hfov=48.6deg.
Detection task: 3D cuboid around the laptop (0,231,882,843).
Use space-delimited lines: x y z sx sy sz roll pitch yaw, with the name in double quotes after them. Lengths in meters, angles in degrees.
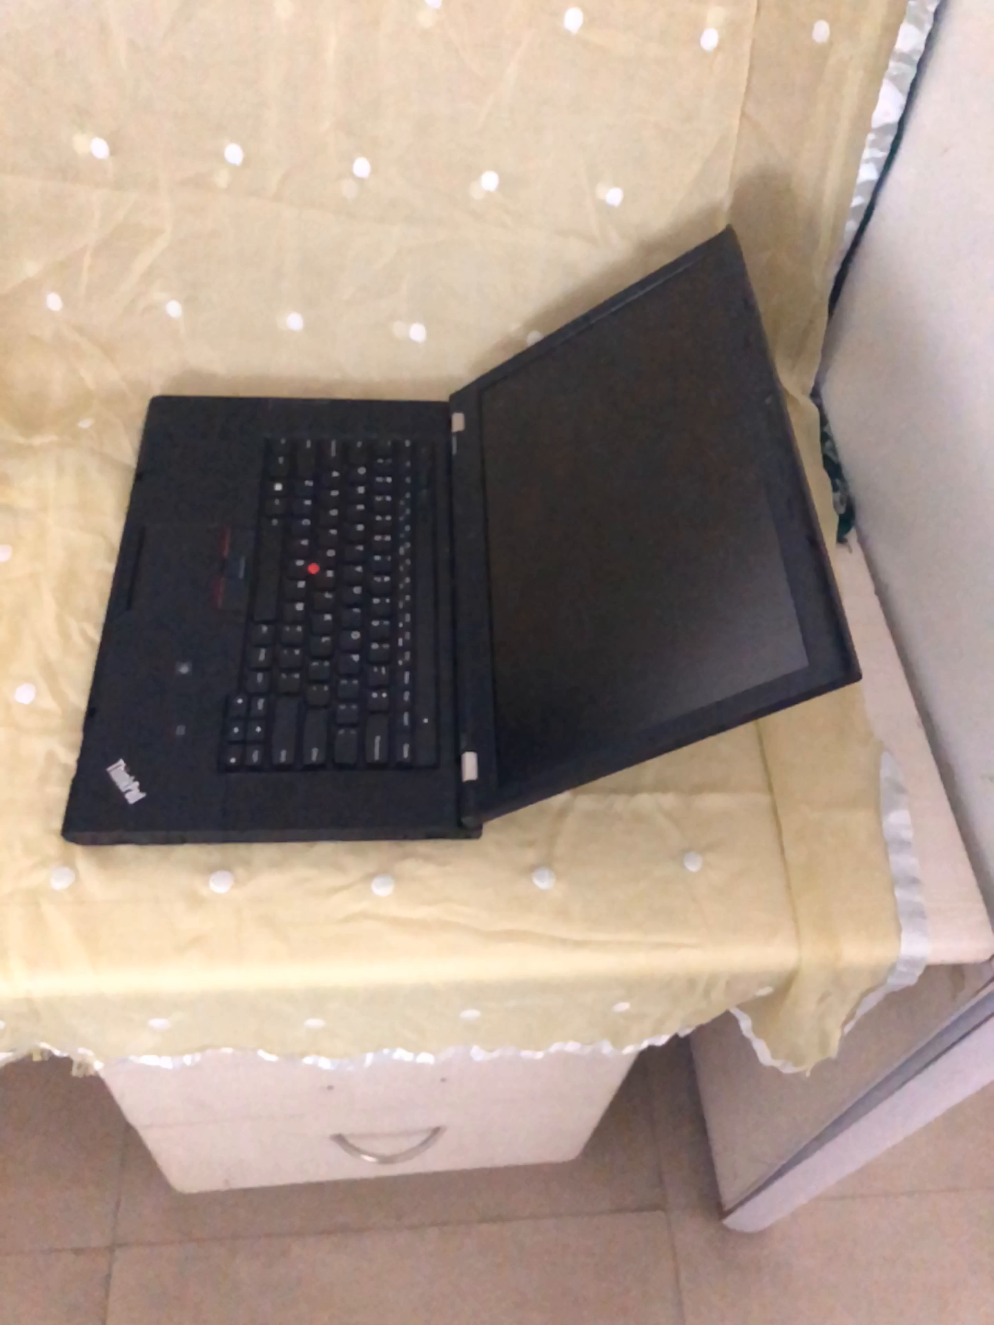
-0.040 -0.091 0.690 0.424 0.156 0.349 -2 55 -2 "laptop"
